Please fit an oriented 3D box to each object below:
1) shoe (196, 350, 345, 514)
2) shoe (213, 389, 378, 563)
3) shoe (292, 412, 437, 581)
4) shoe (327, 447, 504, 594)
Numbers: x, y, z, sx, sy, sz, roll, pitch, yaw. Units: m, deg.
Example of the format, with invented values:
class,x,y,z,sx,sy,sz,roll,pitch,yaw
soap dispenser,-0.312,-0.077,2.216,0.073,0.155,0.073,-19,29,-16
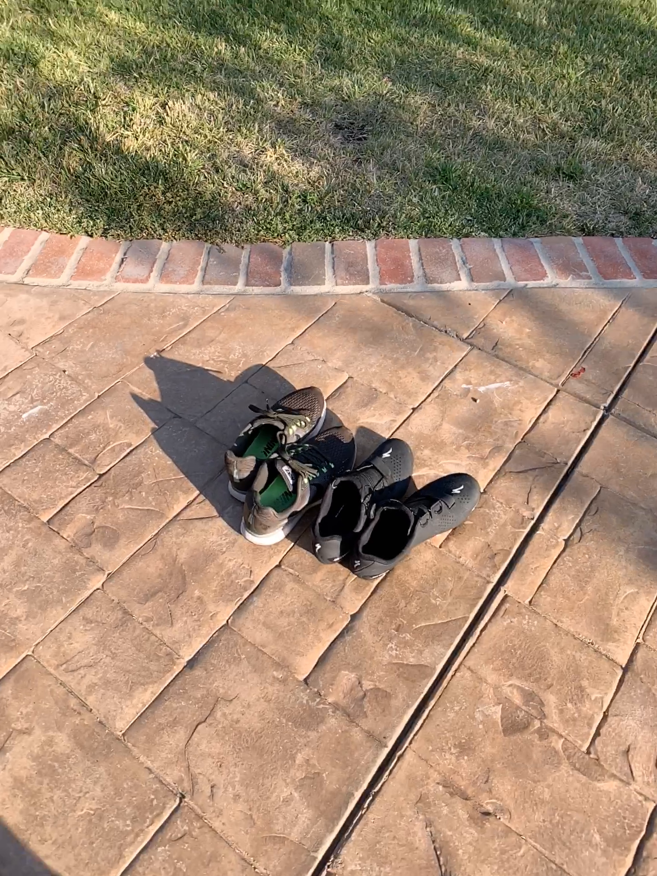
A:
class,x,y,z,sx,sy,sz,roll,pitch,yaw
shoe,-0.098,-0.018,1.240,0.120,0.100,0.291,27,56,20
shoe,-0.050,0.059,1.170,0.120,0.100,0.291,31,57,22
shoe,0.065,0.089,1.130,0.110,0.070,0.281,27,56,20
shoe,0.145,0.131,1.113,0.290,0.060,0.100,-29,57,-22
